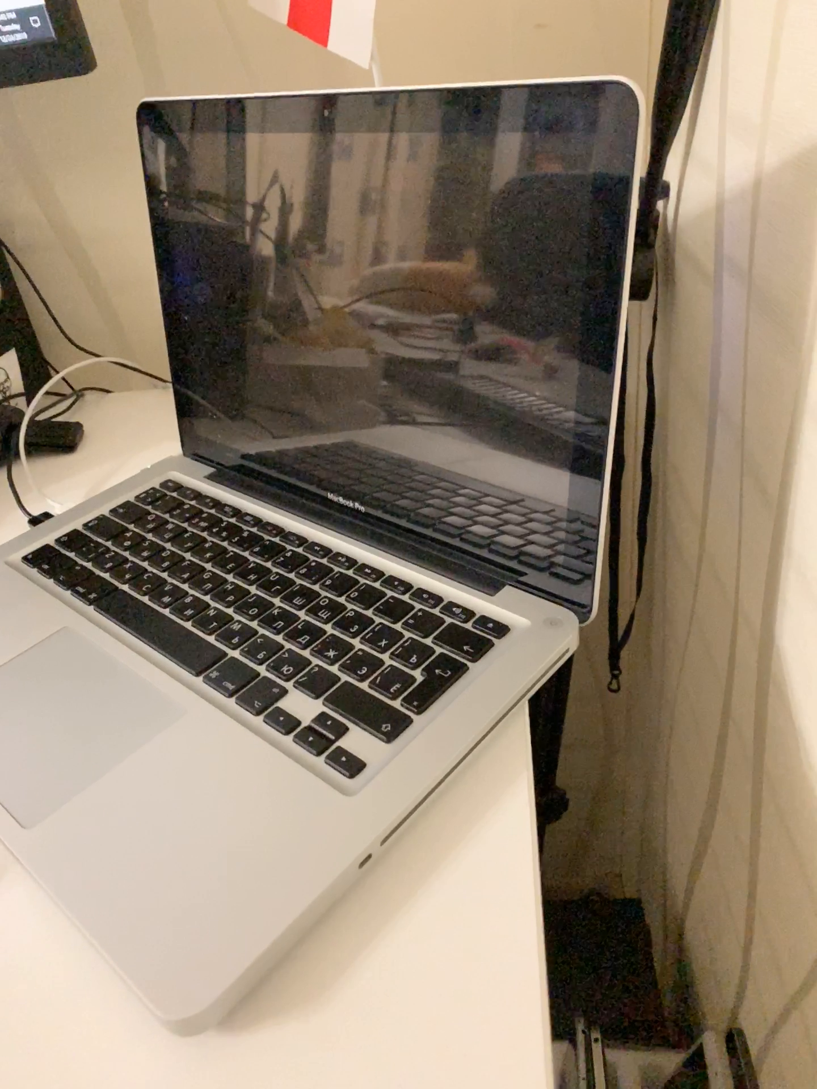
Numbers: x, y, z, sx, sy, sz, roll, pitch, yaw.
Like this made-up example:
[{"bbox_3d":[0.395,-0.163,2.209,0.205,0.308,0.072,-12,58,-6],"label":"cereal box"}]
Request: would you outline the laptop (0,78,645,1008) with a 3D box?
[{"bbox_3d":[-0.102,-0.054,0.354,0.301,0.196,0.250,21,44,38],"label":"laptop"}]
